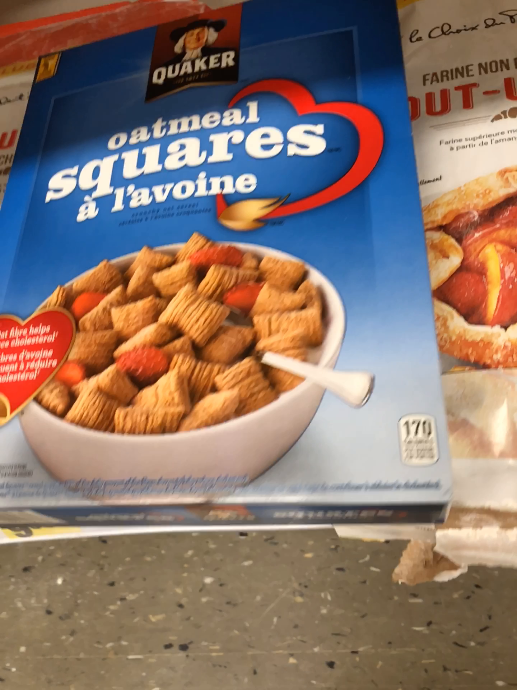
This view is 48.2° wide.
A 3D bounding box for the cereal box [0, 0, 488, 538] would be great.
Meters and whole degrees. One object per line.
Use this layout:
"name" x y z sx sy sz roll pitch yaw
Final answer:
"cereal box" -0.020 -0.054 0.291 0.210 0.060 0.280 -6 63 14
